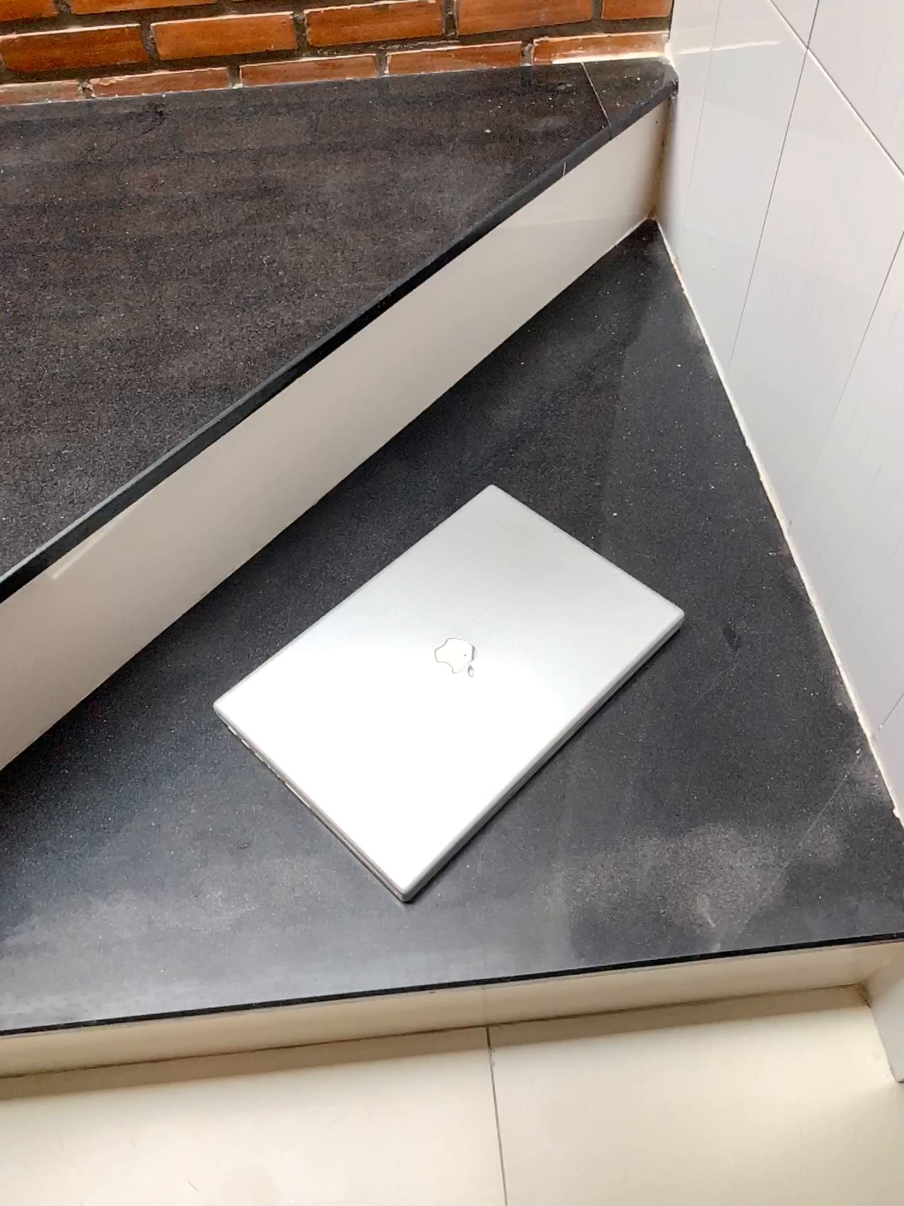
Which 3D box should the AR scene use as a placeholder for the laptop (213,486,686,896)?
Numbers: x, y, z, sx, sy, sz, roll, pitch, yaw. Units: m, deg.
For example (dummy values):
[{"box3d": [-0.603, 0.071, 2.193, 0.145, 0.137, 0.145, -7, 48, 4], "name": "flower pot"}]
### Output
[{"box3d": [0.006, 0.066, 1.025, 0.292, 0.013, 0.441, 38, 63, 23], "name": "laptop"}]
